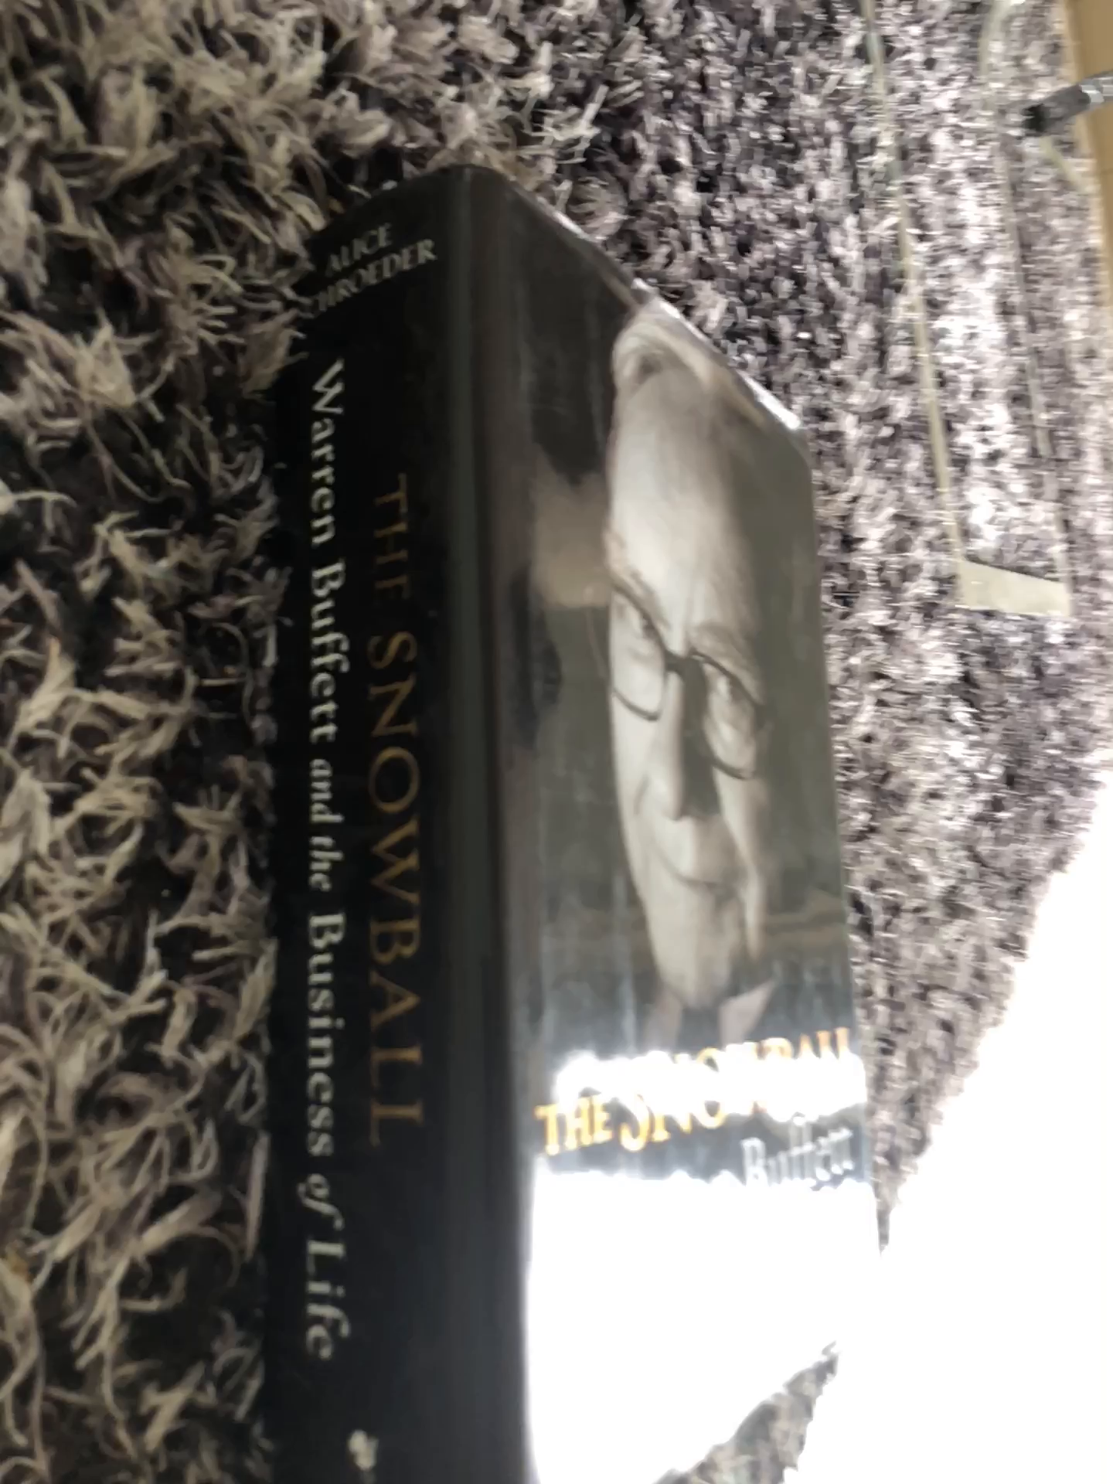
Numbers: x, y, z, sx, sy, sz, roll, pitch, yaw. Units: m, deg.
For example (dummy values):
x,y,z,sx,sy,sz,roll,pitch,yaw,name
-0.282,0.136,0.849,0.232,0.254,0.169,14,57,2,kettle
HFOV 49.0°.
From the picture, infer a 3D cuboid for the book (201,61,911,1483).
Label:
x,y,z,sx,sy,sz,roll,pitch,yaw,name
0.011,0.022,0.277,0.181,0.060,0.250,14,70,-57,book
